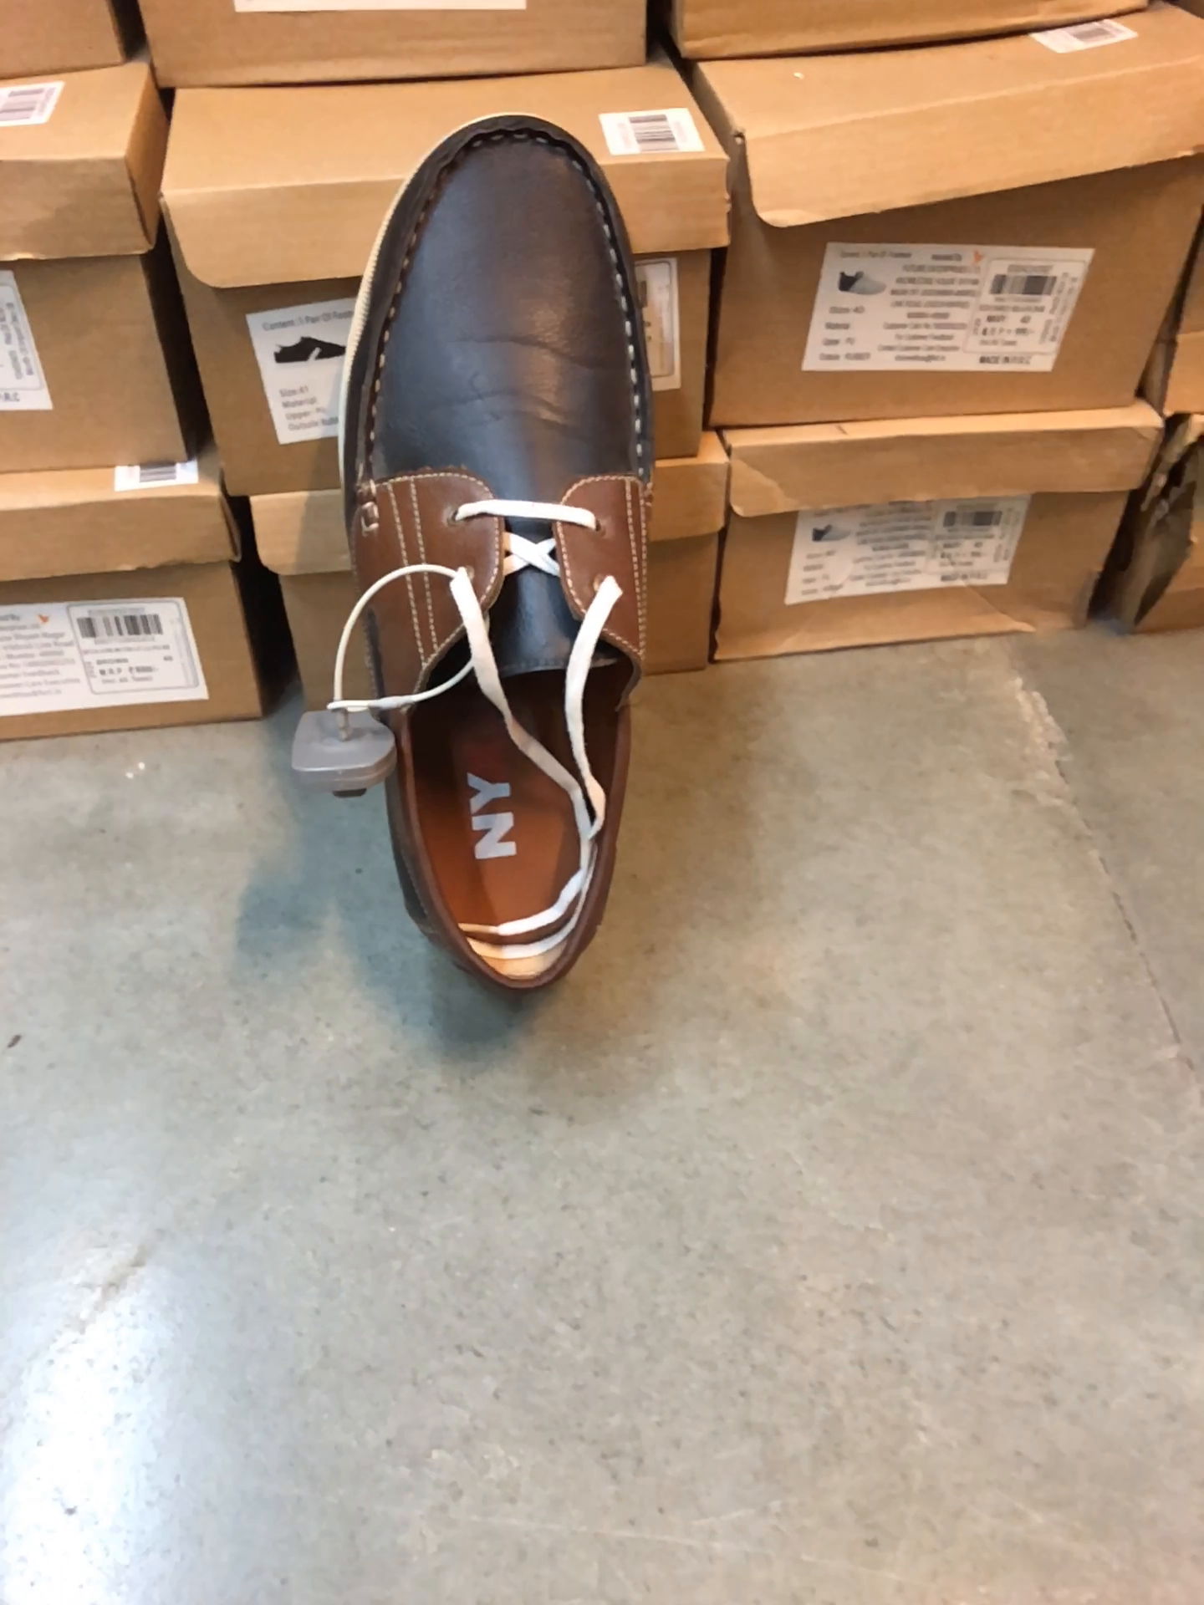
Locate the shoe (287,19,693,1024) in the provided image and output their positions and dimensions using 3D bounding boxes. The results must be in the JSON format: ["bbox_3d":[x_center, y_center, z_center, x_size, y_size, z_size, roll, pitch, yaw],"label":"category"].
[{"bbox_3d":[-0.030,-0.077,0.410,0.102,0.264,0.099,-2,10,-4],"label":"shoe"}]
